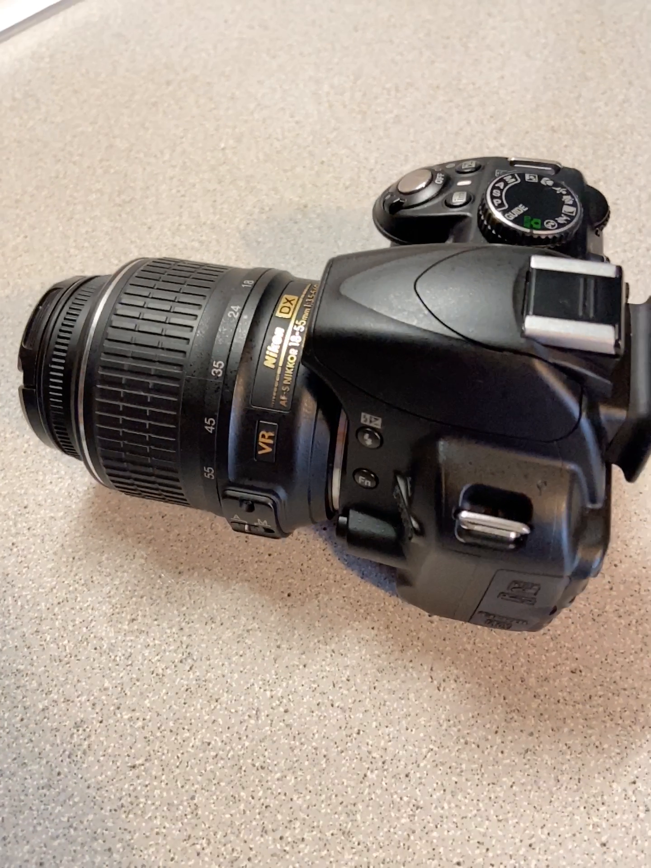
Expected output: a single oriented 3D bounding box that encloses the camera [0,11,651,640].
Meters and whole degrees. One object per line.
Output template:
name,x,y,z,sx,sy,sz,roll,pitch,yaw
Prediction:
camera,-0.010,-0.031,0.192,0.177,0.092,0.122,10,62,8
